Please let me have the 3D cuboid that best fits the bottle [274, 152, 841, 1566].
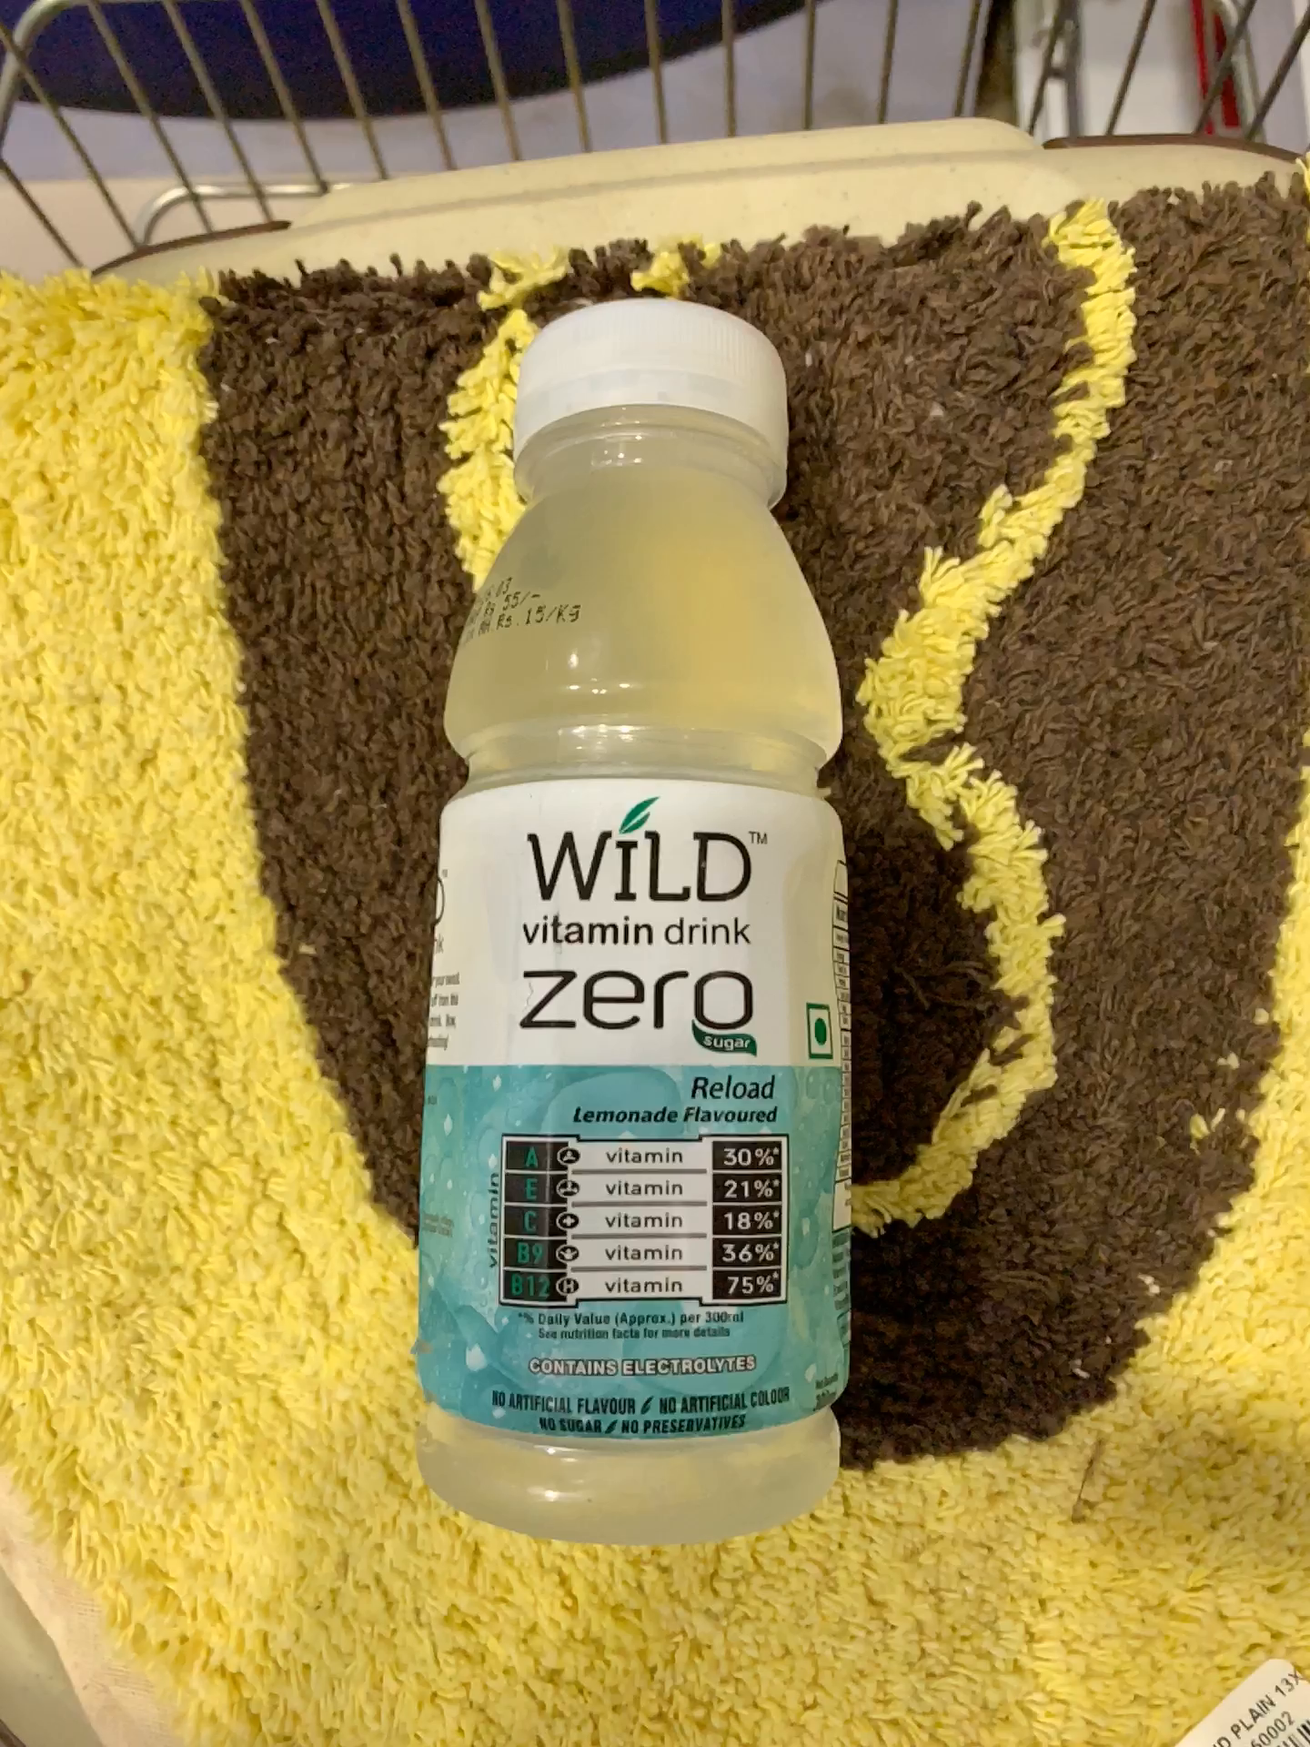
[{"bbox_3d":[-0.007,-0.005,0.175,0.060,0.040,0.160,0,81,6],"label":"bottle"}]
